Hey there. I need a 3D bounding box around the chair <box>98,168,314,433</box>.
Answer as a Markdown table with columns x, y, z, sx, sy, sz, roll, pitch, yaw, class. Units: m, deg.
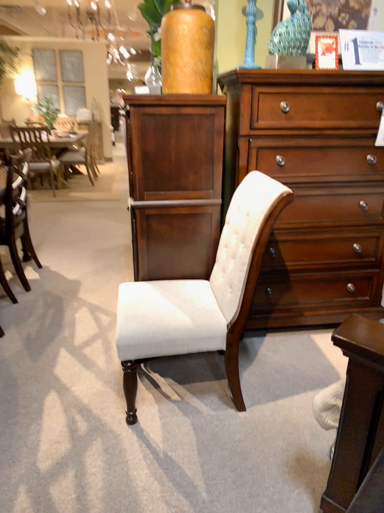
| x | y | z | sx | sy | sz | roll | pitch | yaw | class |
| --- | --- | --- | --- | --- | --- | --- | --- | --- | --- |
| 0.006 | 0.142 | 1.715 | 0.717 | 0.950 | 0.587 | -2 | 22 | -8 | chair |
